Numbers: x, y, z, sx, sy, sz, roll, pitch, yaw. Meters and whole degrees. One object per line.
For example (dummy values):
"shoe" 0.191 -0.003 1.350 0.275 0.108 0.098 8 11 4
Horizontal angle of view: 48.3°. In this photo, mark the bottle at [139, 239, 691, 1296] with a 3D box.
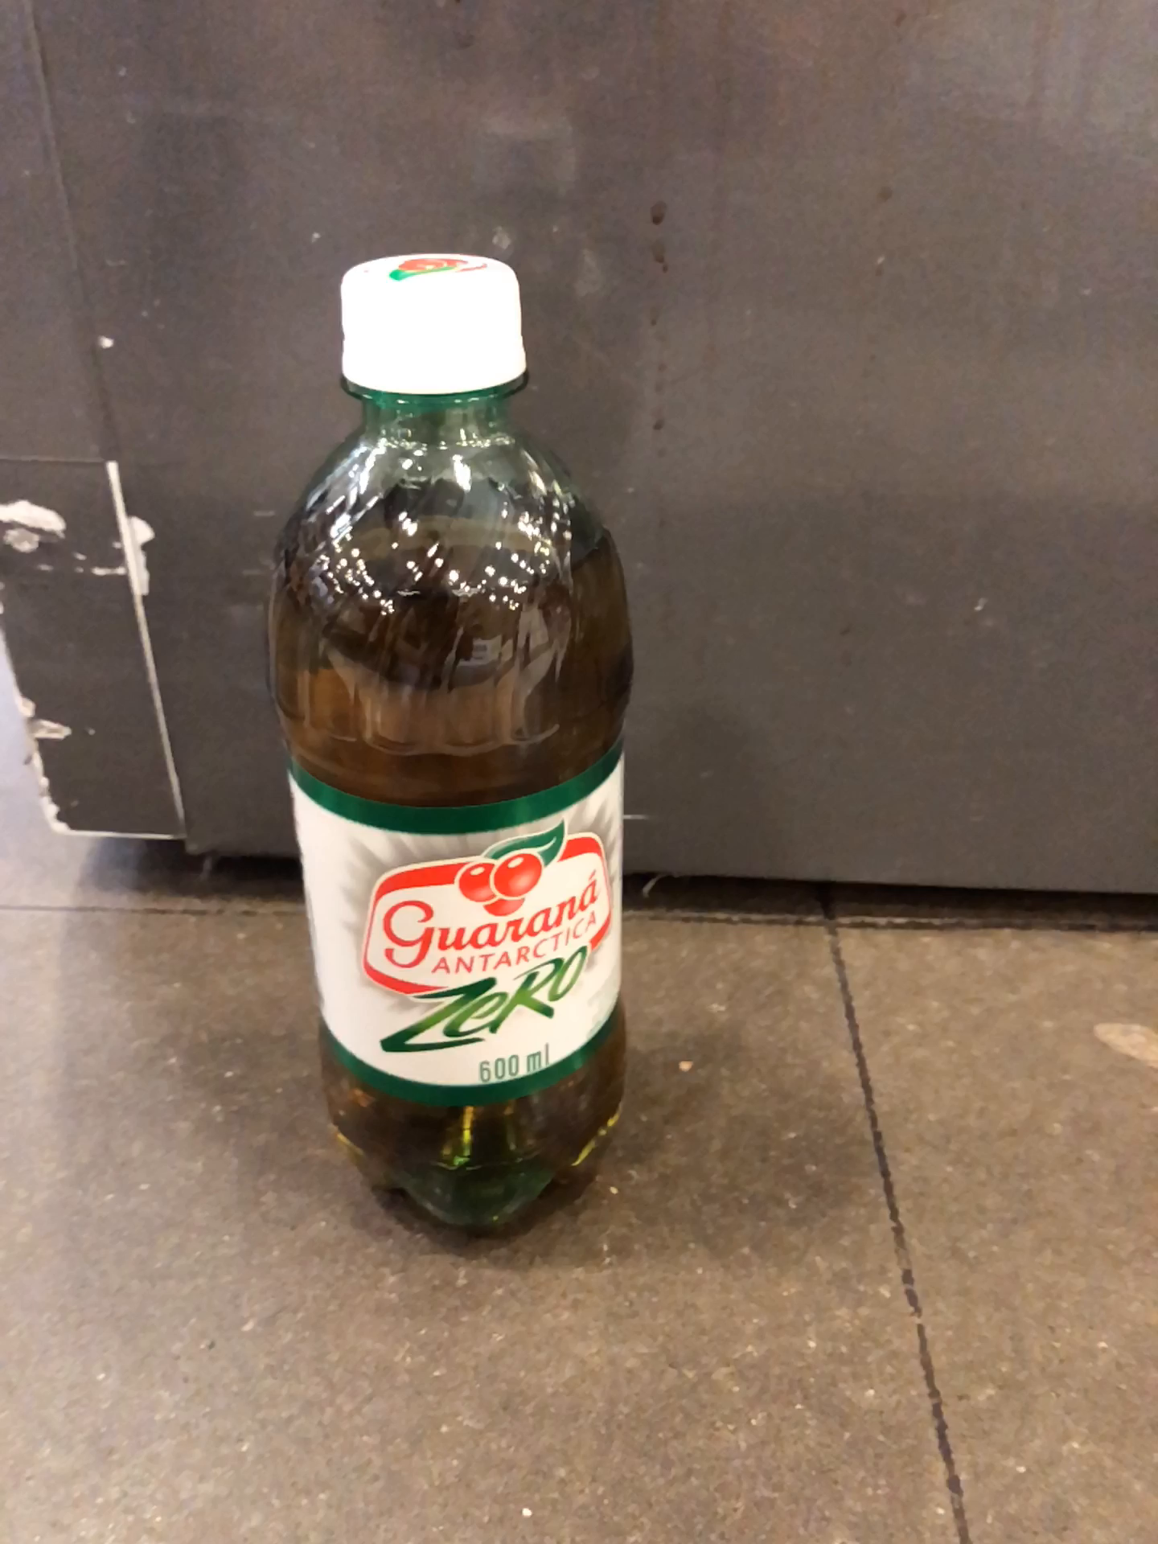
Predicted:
"bottle" -0.029 0.007 0.271 0.080 0.208 0.070 -5 32 -9
